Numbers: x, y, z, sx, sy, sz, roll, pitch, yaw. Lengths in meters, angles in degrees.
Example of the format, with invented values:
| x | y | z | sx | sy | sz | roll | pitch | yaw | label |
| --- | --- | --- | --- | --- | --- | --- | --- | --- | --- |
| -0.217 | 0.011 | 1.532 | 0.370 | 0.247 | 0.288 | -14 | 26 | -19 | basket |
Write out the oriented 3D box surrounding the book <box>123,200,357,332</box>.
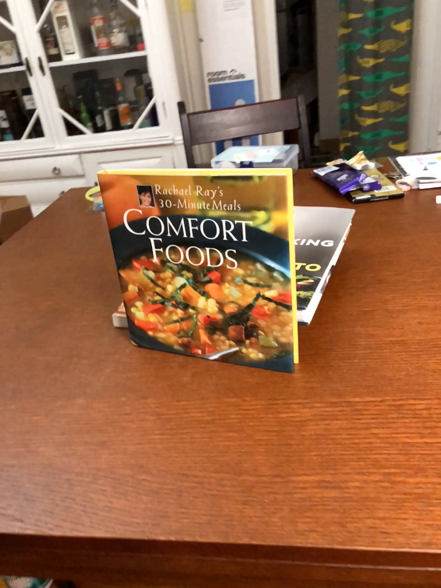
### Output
| x | y | z | sx | sy | sz | roll | pitch | yaw | label |
| --- | --- | --- | --- | --- | --- | --- | --- | --- | --- |
| 0.043 | -0.056 | 0.631 | 0.220 | 0.030 | 0.281 | 5 | 33 | 23 | book |

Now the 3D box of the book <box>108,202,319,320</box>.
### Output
| x | y | z | sx | sy | sz | roll | pitch | yaw | label |
| --- | --- | --- | --- | --- | --- | --- | --- | --- | --- |
| 0.009 | -0.061 | 0.679 | 0.220 | 0.030 | 0.282 | 2 | 32 | 18 | book |

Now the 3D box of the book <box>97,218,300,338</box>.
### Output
| x | y | z | sx | sy | sz | roll | pitch | yaw | label |
| --- | --- | --- | --- | --- | --- | --- | --- | --- | --- |
| -0.013 | -0.037 | 0.699 | 0.220 | 0.030 | 0.282 | 1 | 32 | 16 | book |

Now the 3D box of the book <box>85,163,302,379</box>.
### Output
| x | y | z | sx | sy | sz | roll | pitch | yaw | label |
| --- | --- | --- | --- | --- | --- | --- | --- | --- | --- |
| -0.024 | -0.026 | 0.501 | 0.210 | 0.209 | 0.030 | 7 | 30 | 24 | book |
